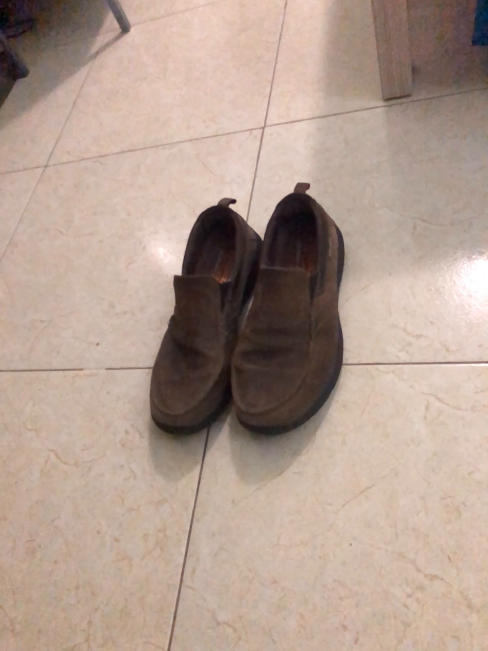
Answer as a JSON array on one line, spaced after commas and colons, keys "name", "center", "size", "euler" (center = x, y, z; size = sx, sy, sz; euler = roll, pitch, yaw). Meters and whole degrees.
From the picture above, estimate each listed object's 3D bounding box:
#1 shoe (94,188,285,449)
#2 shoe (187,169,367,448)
[{"name": "shoe", "center": [-0.051, -0.019, 0.662], "size": [0.120, 0.100, 0.300], "euler": [3, 59, 23]}, {"name": "shoe", "center": [0.052, -0.029, 0.618], "size": [0.130, 0.100, 0.300], "euler": [1, 58, 22]}]
